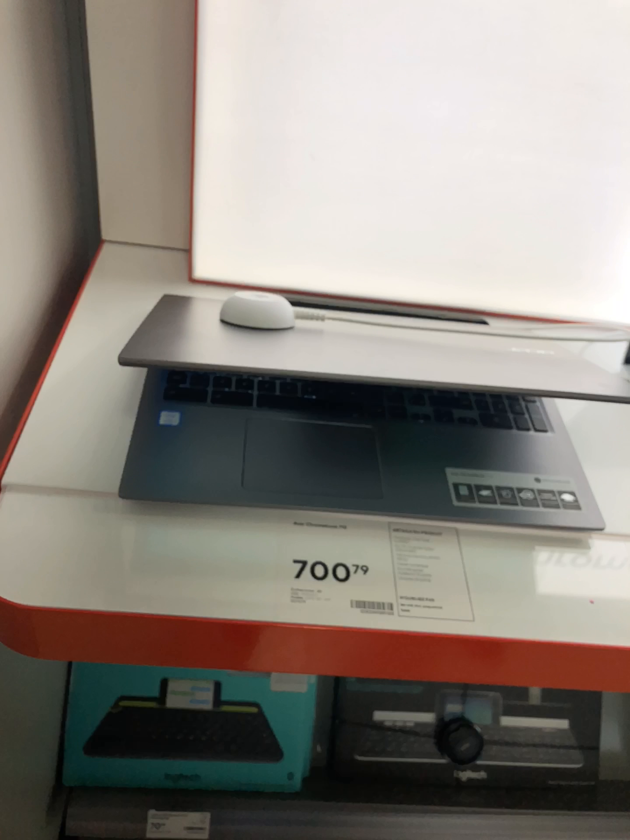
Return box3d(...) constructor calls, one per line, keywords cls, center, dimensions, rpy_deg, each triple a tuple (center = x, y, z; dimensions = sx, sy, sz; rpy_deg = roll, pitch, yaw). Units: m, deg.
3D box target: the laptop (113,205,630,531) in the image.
box3d(cls="laptop", center=(0.044, -0.049, 0.561), dimensions=(0.356, 0.105, 0.237), rpy_deg=(5, 42, -7))
